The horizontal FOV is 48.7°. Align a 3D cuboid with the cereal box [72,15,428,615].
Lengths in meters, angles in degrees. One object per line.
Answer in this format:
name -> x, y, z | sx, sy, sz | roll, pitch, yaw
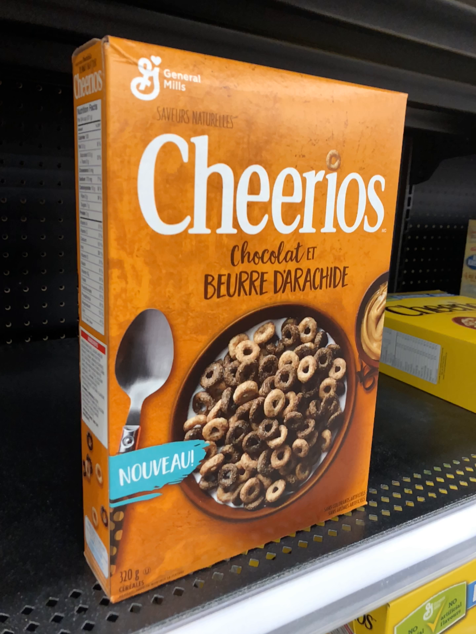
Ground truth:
cereal box -> 0.009, 0.001, 0.325 | 0.200, 0.289, 0.060 | -5, 15, -33
